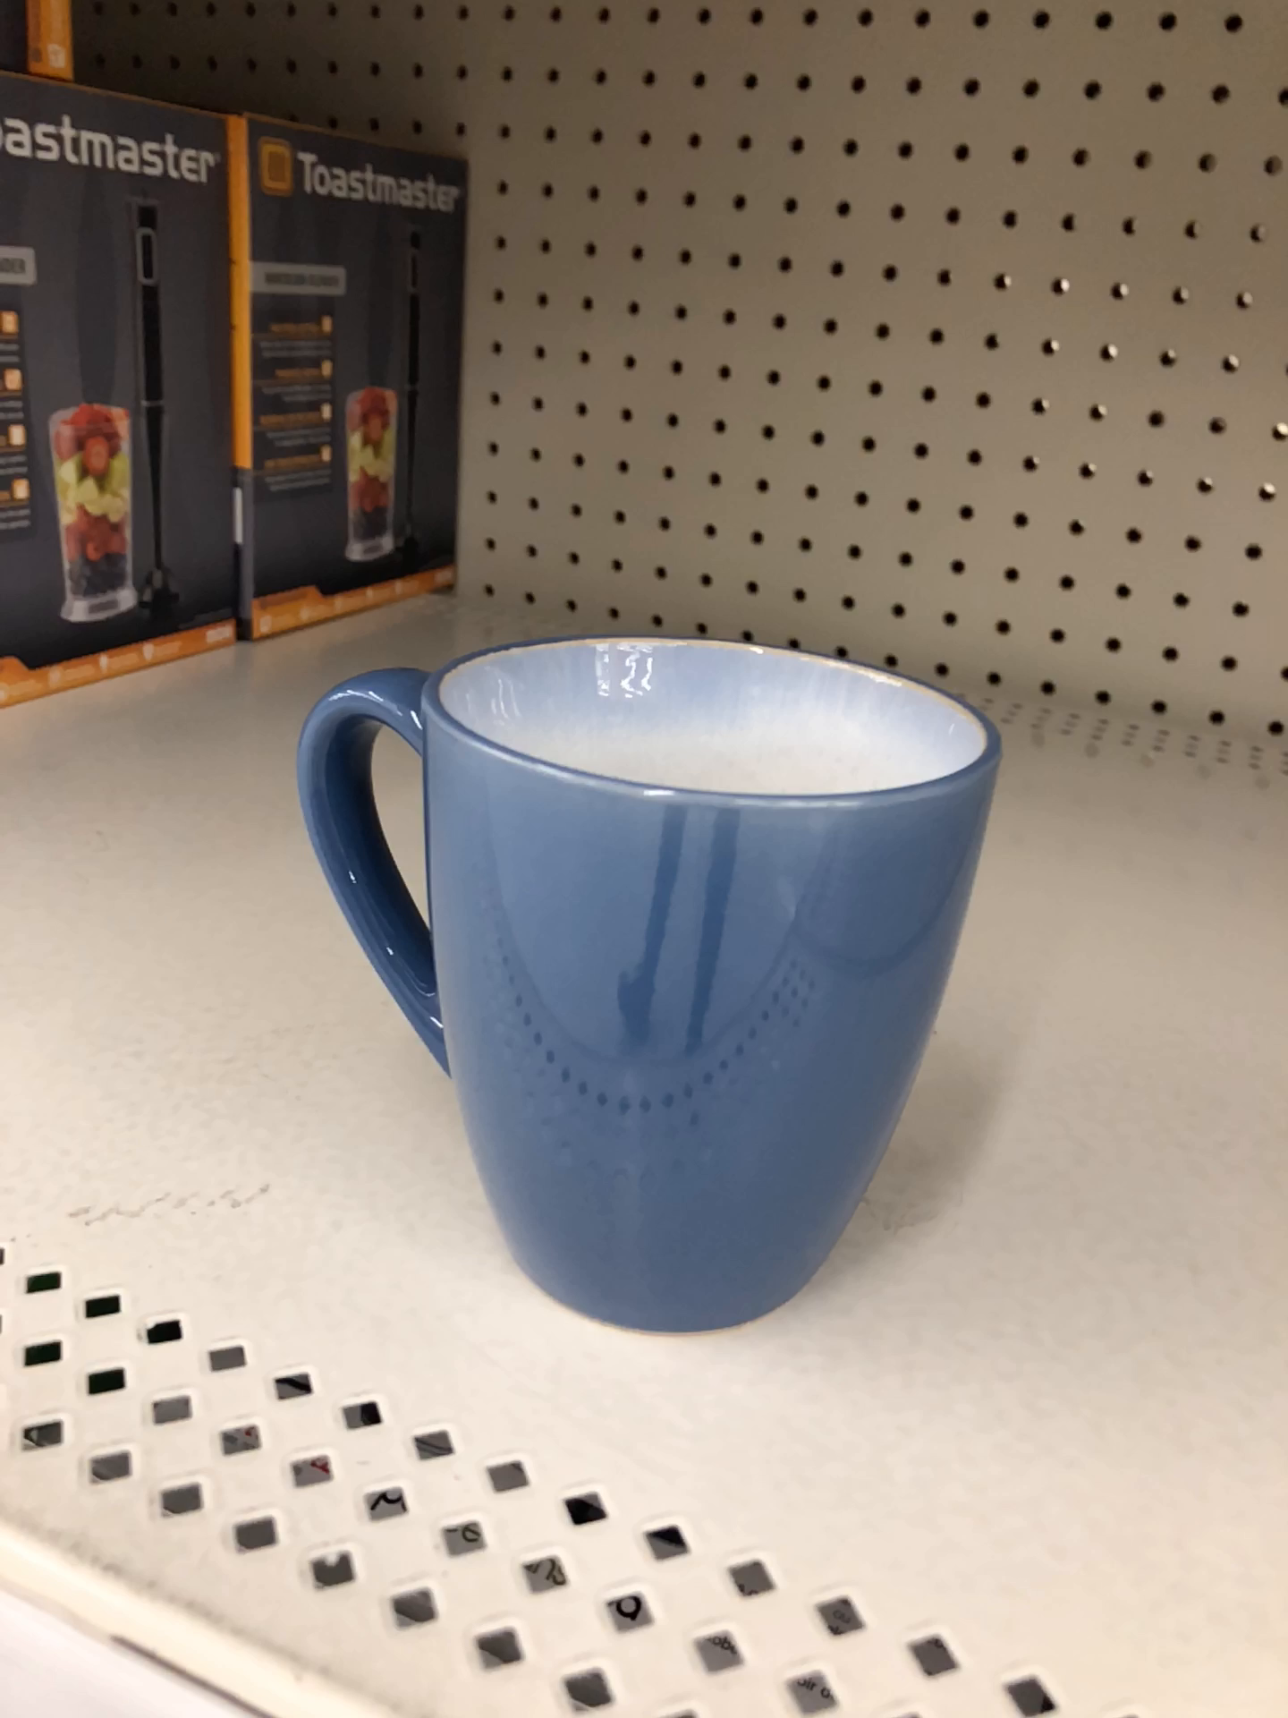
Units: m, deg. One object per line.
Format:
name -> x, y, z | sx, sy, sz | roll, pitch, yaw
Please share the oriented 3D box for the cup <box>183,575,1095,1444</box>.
cup -> 0.001, 0.013, 0.262 | 0.128, 0.098, 0.097 | 14, 23, 22
